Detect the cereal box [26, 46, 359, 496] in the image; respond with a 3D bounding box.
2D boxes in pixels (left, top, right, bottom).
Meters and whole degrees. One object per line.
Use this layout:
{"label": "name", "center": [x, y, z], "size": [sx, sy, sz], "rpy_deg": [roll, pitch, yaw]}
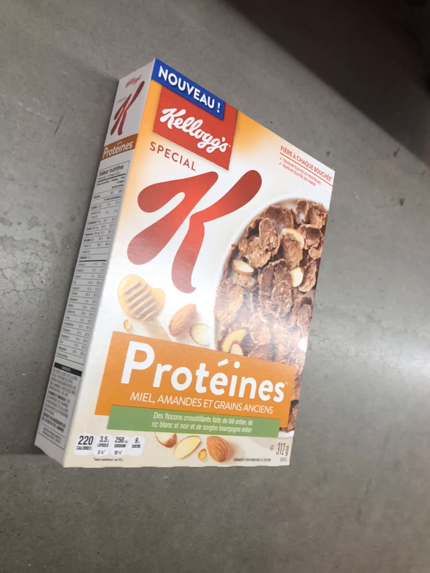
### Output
{"label": "cereal box", "center": [0.004, 0.006, 0.337], "size": [0.201, 0.050, 0.250], "rpy_deg": [16, 82, -38]}
